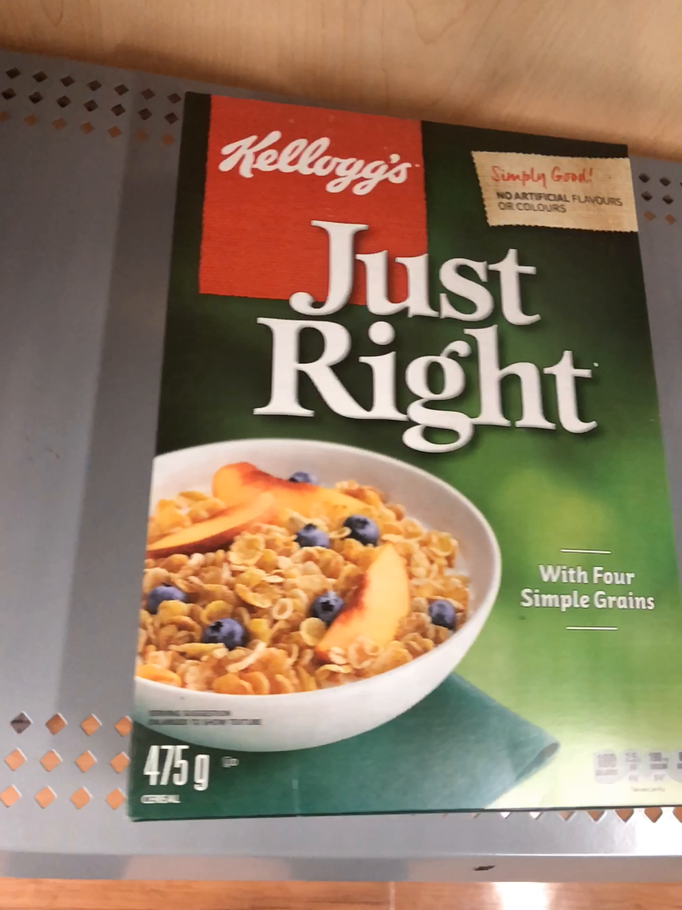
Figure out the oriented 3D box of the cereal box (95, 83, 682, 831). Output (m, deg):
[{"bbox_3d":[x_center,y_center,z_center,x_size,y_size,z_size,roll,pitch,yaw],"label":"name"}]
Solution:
[{"bbox_3d":[0.022,-0.007,0.304,0.200,0.060,0.271,2,72,-9],"label":"cereal box"}]
